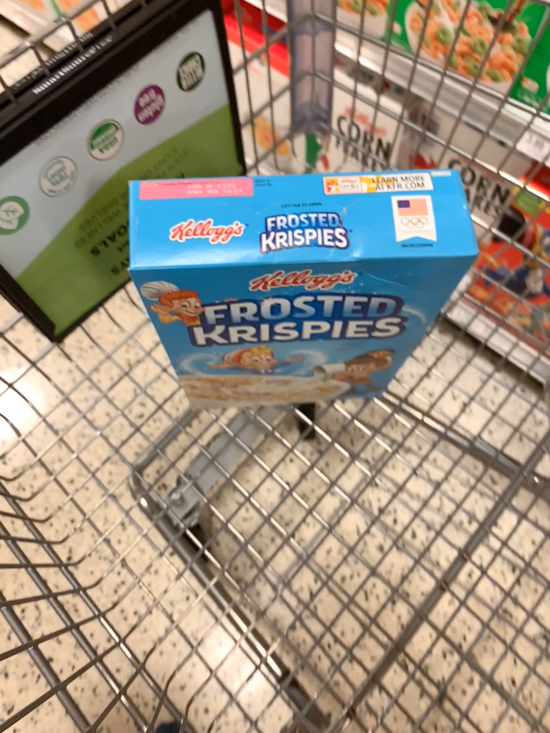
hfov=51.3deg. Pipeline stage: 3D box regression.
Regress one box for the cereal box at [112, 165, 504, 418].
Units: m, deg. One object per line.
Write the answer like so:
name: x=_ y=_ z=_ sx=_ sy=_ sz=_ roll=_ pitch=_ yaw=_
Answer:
cereal box: x=0.018 y=-0.028 z=0.453 sx=0.200 sy=0.318 sz=0.060 roll=-2 pitch=72 yaw=0
